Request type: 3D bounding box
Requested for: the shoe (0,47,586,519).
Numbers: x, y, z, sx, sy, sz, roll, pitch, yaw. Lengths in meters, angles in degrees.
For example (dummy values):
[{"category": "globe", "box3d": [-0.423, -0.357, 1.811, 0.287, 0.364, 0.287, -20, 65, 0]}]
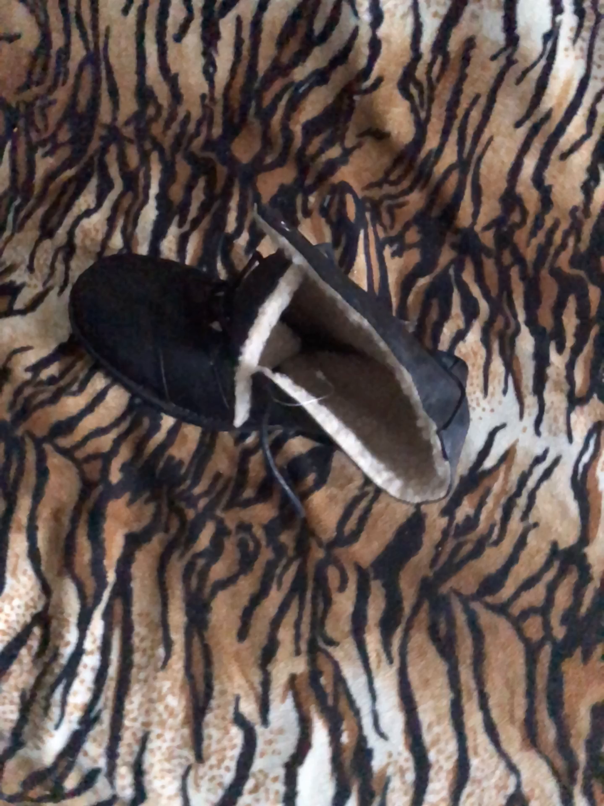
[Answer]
[{"category": "shoe", "box3d": [-0.023, -0.064, 0.460, 0.330, 0.200, 0.140, 20, 70, 6]}]
